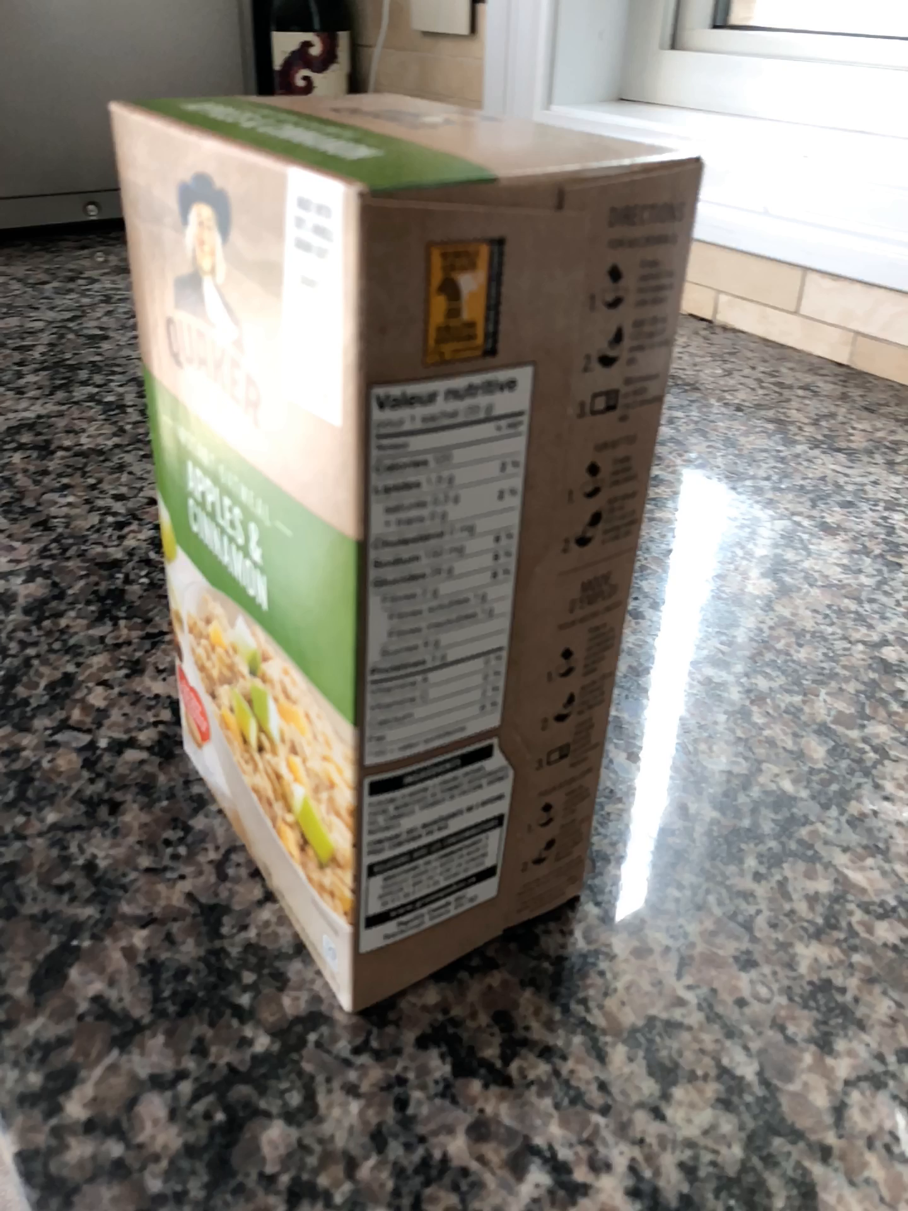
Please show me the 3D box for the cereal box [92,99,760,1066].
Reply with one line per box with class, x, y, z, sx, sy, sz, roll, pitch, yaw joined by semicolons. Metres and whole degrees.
cereal box;-0.017;-0.012;0.271;0.090;0.209;0.130;-17;36;-28
